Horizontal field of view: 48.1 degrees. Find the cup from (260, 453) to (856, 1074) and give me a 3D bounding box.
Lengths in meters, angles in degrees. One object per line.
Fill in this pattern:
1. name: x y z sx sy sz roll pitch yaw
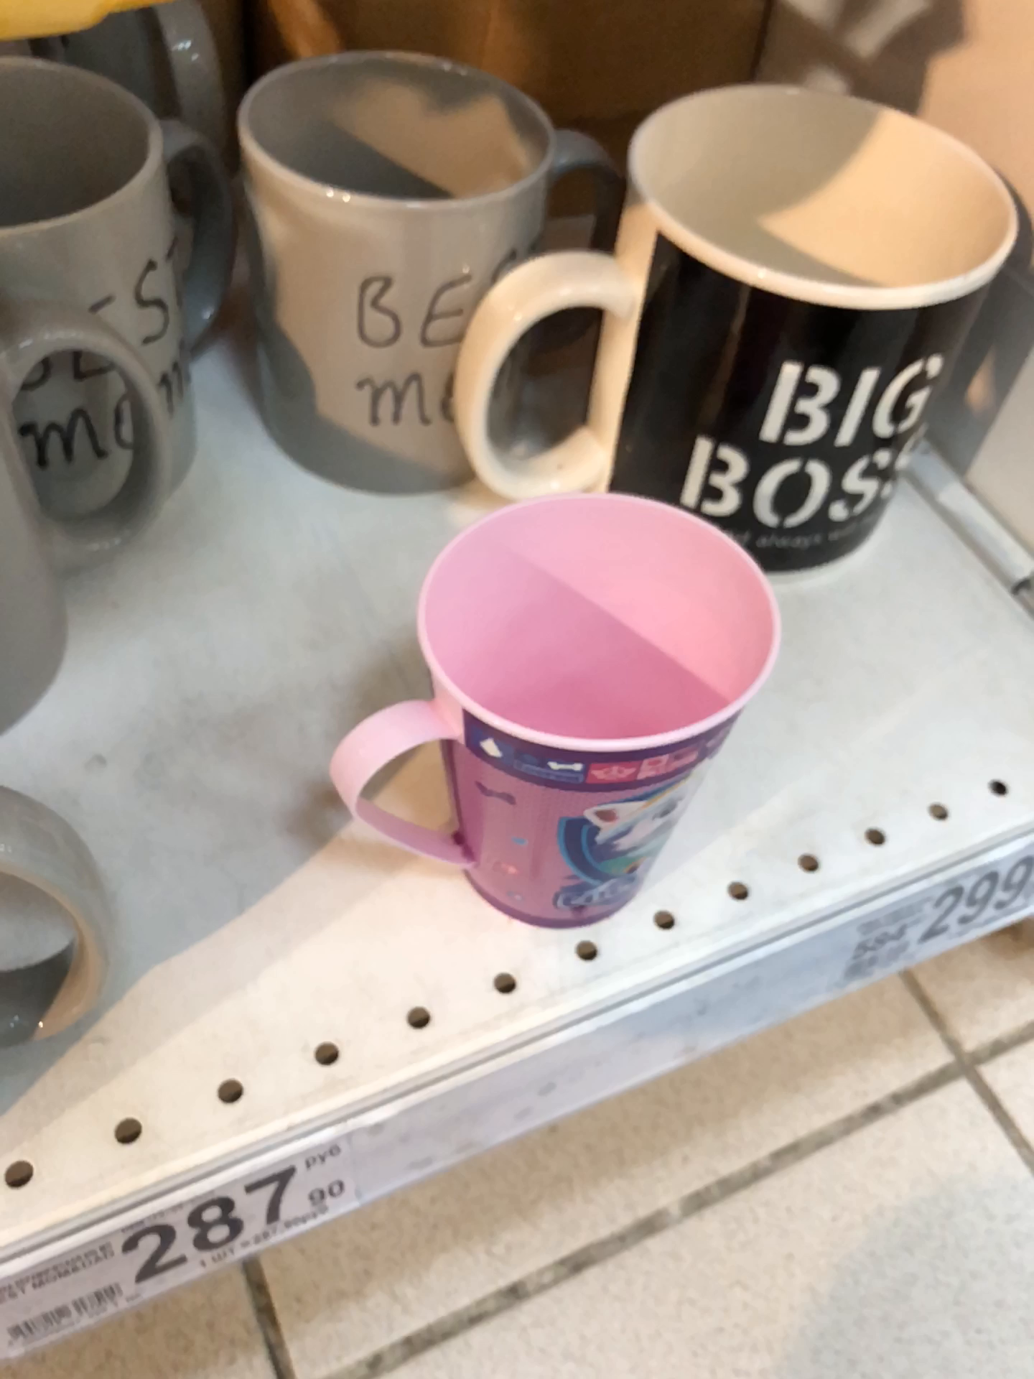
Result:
1. cup: 0.004 0.019 0.297 0.109 0.104 0.078 -24 58 -24
